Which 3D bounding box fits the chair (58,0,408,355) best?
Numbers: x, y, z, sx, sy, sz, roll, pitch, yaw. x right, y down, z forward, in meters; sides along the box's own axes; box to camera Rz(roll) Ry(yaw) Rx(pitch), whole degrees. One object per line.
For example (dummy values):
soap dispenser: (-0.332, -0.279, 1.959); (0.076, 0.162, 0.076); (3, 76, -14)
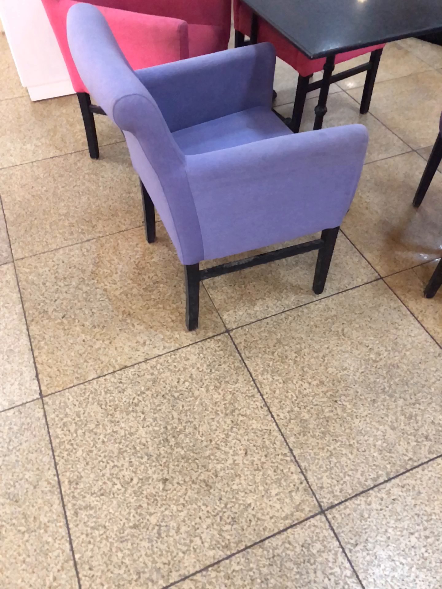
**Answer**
chair: (-0.010, -0.379, 1.412); (0.611, 0.817, 0.592); (-18, 52, -15)
